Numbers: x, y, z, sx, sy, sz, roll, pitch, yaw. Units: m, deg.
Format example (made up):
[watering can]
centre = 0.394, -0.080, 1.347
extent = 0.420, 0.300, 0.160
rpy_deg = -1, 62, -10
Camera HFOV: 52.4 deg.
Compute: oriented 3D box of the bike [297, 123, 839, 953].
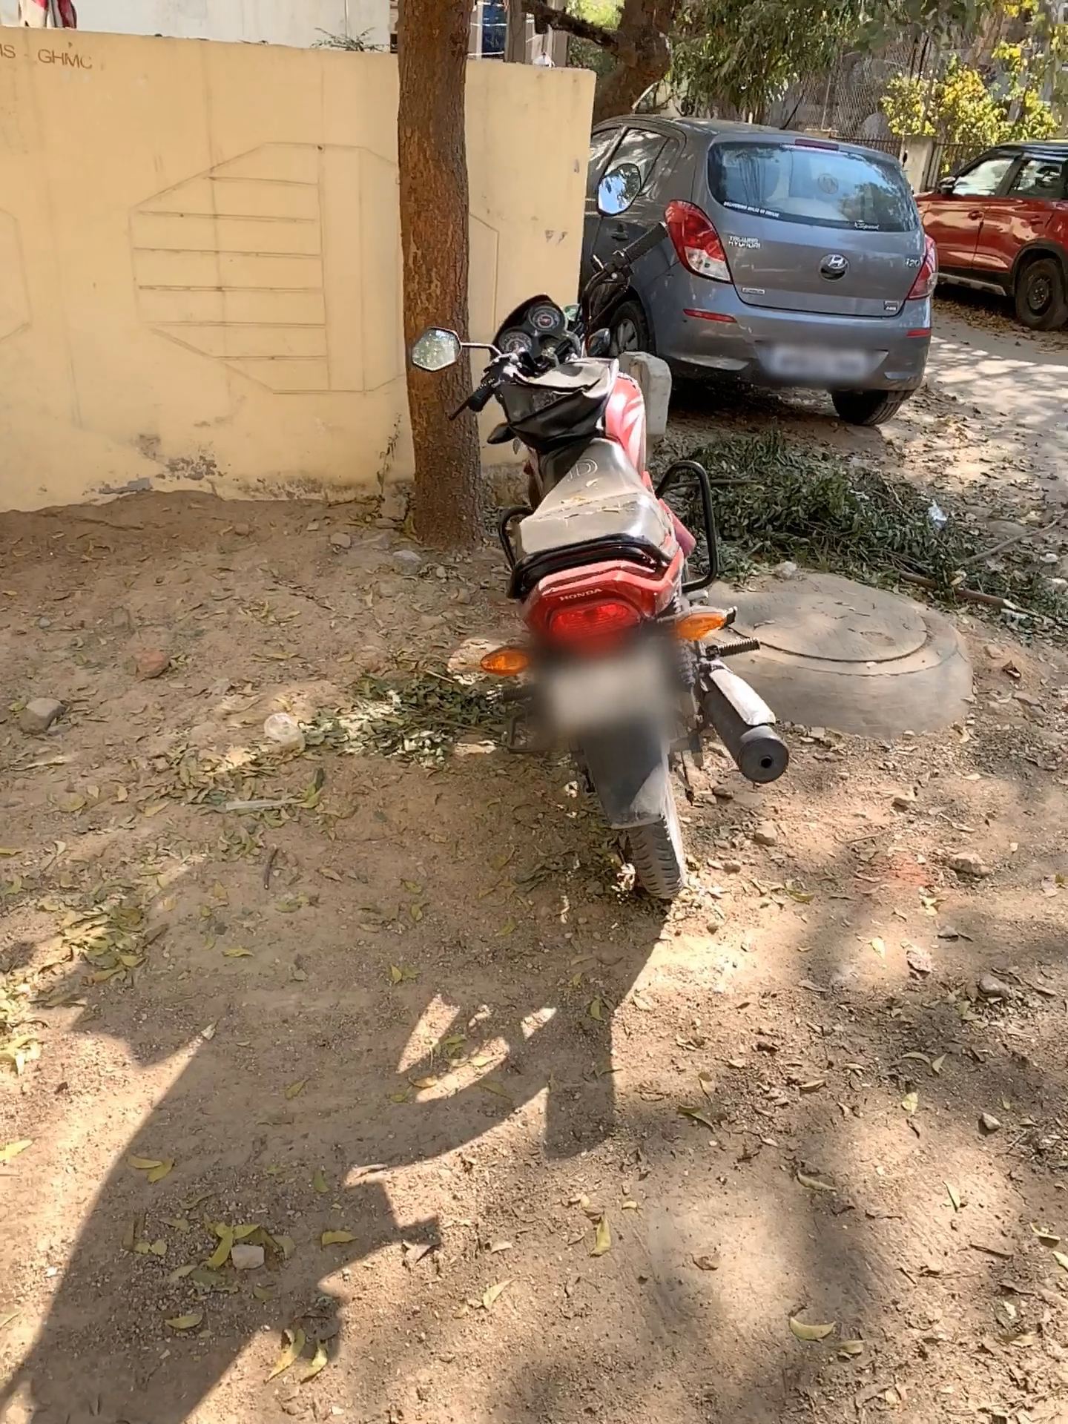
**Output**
[bike]
centre = -0.100, -0.541, 2.496
extent = 0.775, 1.179, 1.650
rpy_deg = -1, 33, -8
